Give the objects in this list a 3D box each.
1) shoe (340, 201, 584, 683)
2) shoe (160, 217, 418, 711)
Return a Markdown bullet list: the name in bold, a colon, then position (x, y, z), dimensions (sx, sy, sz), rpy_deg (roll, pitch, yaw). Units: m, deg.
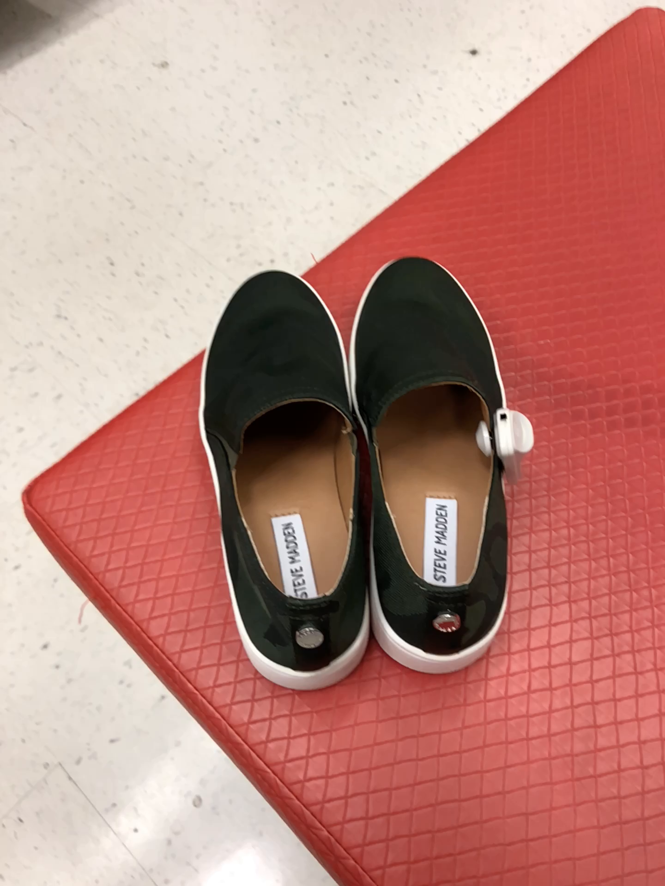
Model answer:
- **shoe**: position (0.055, -0.008, 0.403), dimensions (0.088, 0.090, 0.250), rpy_deg (-3, 59, 0)
- **shoe**: position (-0.030, 0.003, 0.400), dimensions (0.091, 0.090, 0.244), rpy_deg (-10, 60, -4)
